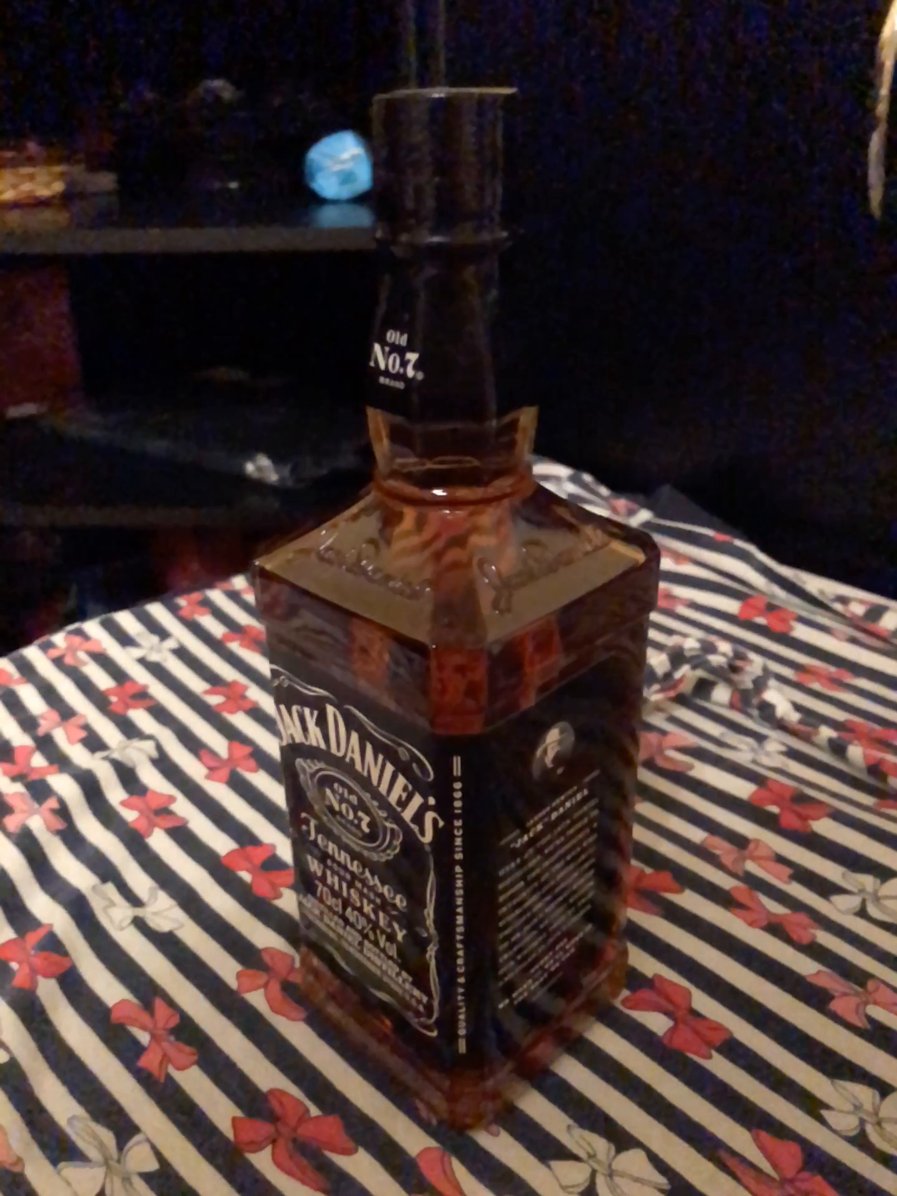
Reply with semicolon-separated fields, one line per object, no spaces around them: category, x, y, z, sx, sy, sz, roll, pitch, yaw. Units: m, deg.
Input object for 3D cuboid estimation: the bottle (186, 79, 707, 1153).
bottle;0.002;0.009;0.253;0.073;0.246;0.074;-1;25;1
